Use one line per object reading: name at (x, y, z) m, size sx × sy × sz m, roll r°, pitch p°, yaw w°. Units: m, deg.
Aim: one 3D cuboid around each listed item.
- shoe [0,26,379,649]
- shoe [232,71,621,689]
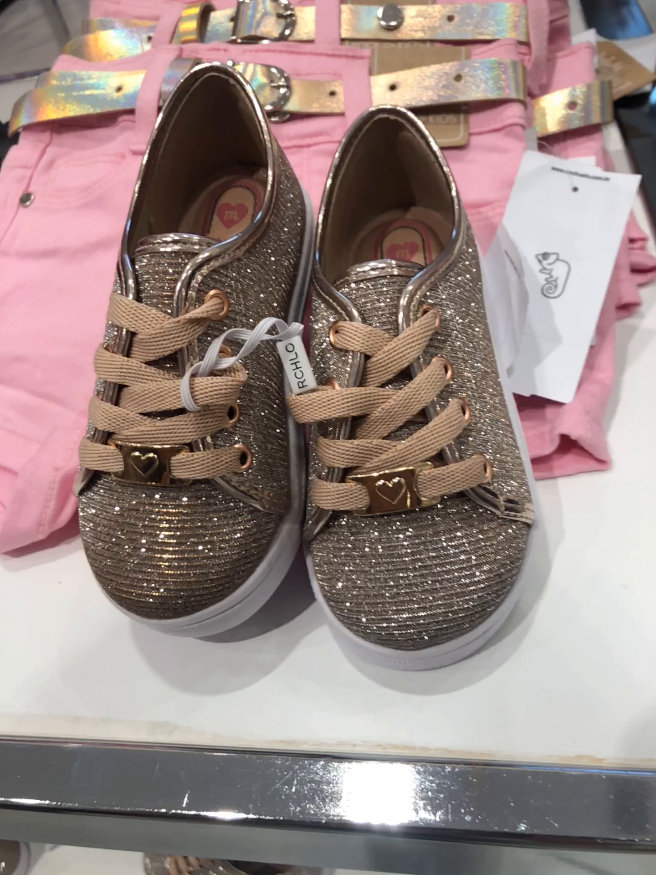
shoe at (-0.030, -0.028, 0.232) m, size 0.070 × 0.080 × 0.171 m, roll -1°, pitch 69°, yaw 14°
shoe at (0.022, -0.022, 0.231) m, size 0.080 × 0.079 × 0.171 m, roll -8°, pitch 56°, yaw 7°
